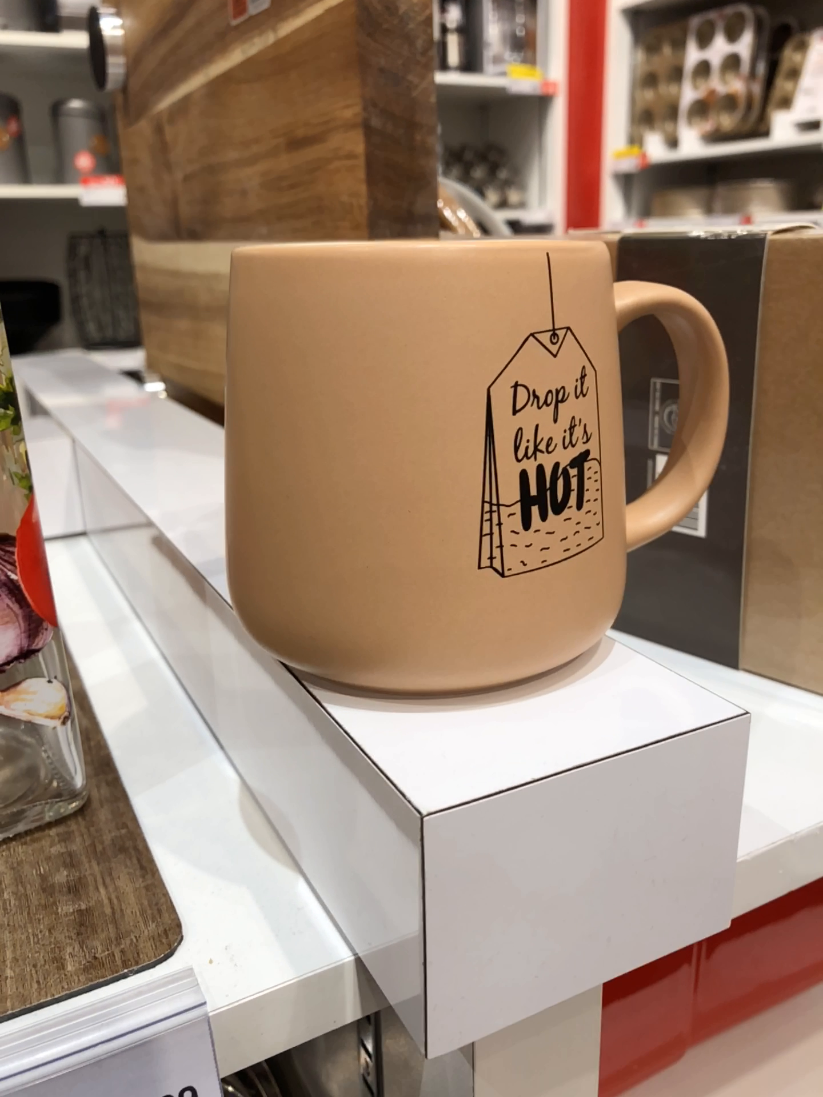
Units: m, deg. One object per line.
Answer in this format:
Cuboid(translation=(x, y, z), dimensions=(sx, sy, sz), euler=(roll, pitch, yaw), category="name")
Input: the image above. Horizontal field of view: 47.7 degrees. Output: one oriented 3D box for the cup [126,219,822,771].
Cuboid(translation=(0.016, -0.026, 0.198), dimensions=(0.110, 0.080, 0.090), euler=(-17, 24, -39), category="cup")
